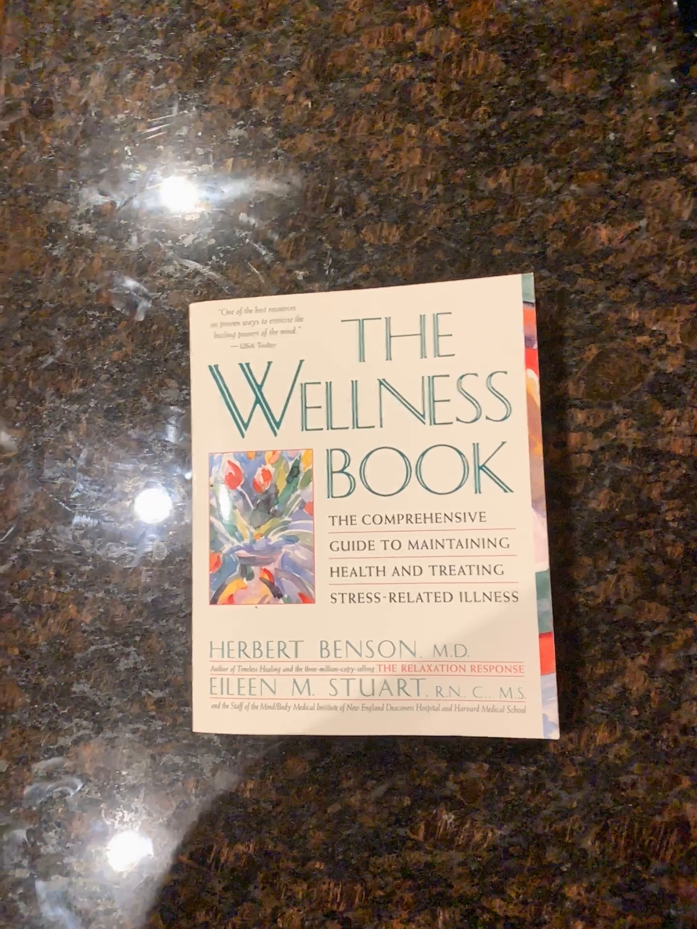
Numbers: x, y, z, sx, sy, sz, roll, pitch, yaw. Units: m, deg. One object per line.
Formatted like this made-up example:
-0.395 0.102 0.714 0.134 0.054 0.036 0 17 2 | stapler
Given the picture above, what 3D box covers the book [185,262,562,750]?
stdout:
0.010 0.023 0.396 0.187 0.060 0.240 -2 84 9 | book
